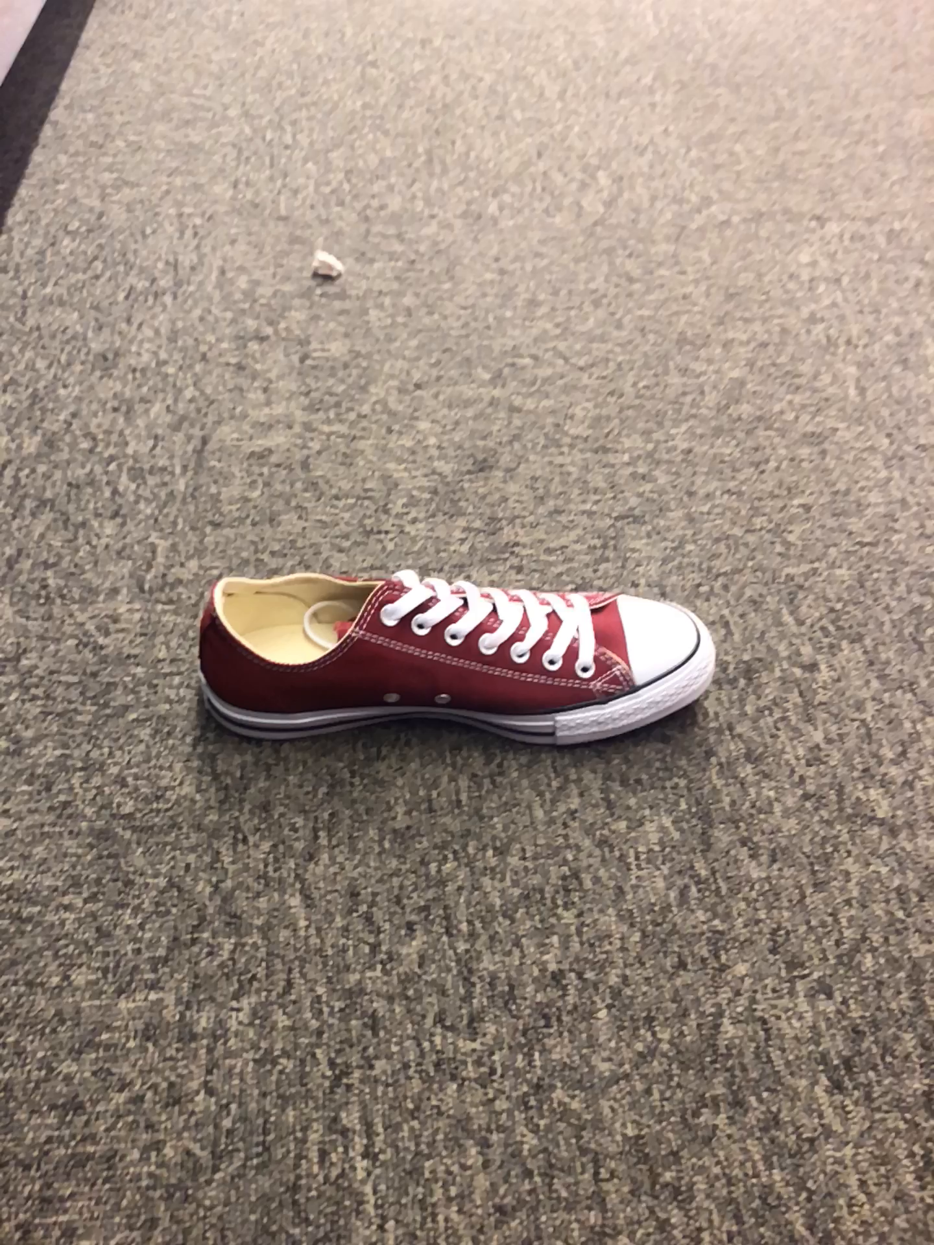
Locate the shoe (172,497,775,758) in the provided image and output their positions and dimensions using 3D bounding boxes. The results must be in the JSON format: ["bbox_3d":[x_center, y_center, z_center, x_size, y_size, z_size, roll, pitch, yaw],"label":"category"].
[{"bbox_3d":[0.001,0.003,0.541,0.280,0.090,0.101,0,48,-5],"label":"shoe"}]
